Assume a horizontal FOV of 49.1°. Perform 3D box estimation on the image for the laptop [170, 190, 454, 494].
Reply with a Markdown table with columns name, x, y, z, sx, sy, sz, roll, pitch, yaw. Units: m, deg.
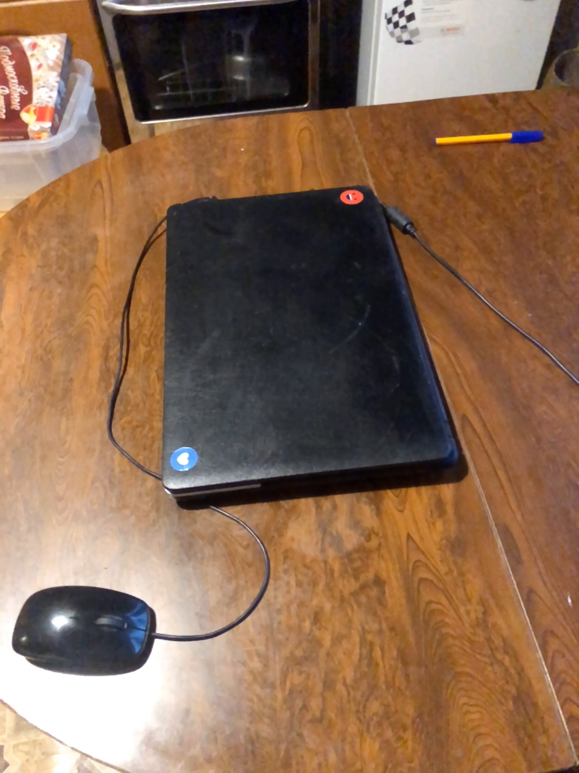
| name | x | y | z | sx | sy | sz | roll | pitch | yaw |
| --- | --- | --- | --- | --- | --- | --- | --- | --- | --- |
| laptop | -0.001 | -0.071 | 0.644 | 0.238 | 0.007 | 0.367 | -7 | 54 | -1 |
